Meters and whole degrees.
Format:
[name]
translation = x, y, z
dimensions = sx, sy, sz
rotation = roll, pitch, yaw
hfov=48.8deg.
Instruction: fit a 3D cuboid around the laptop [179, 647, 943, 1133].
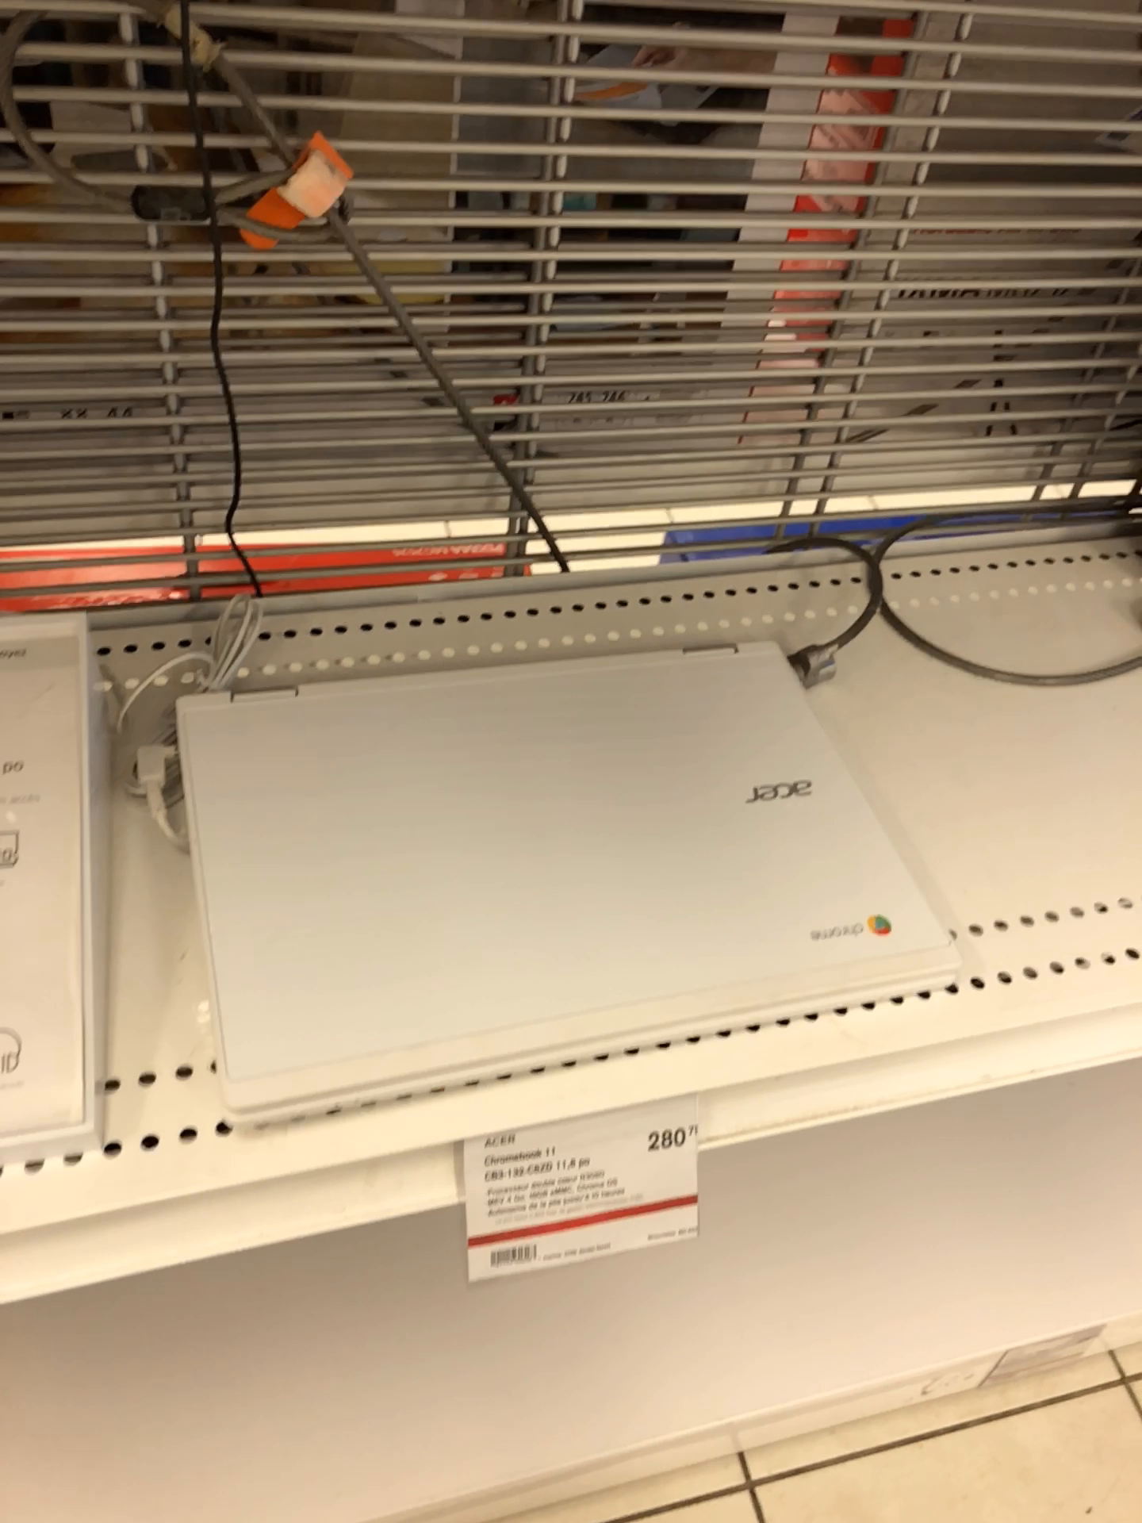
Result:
[laptop]
translation = -0.009, 0.040, 0.544
dimensions = 0.286, 0.024, 0.184
rotation = -7, 55, -16
